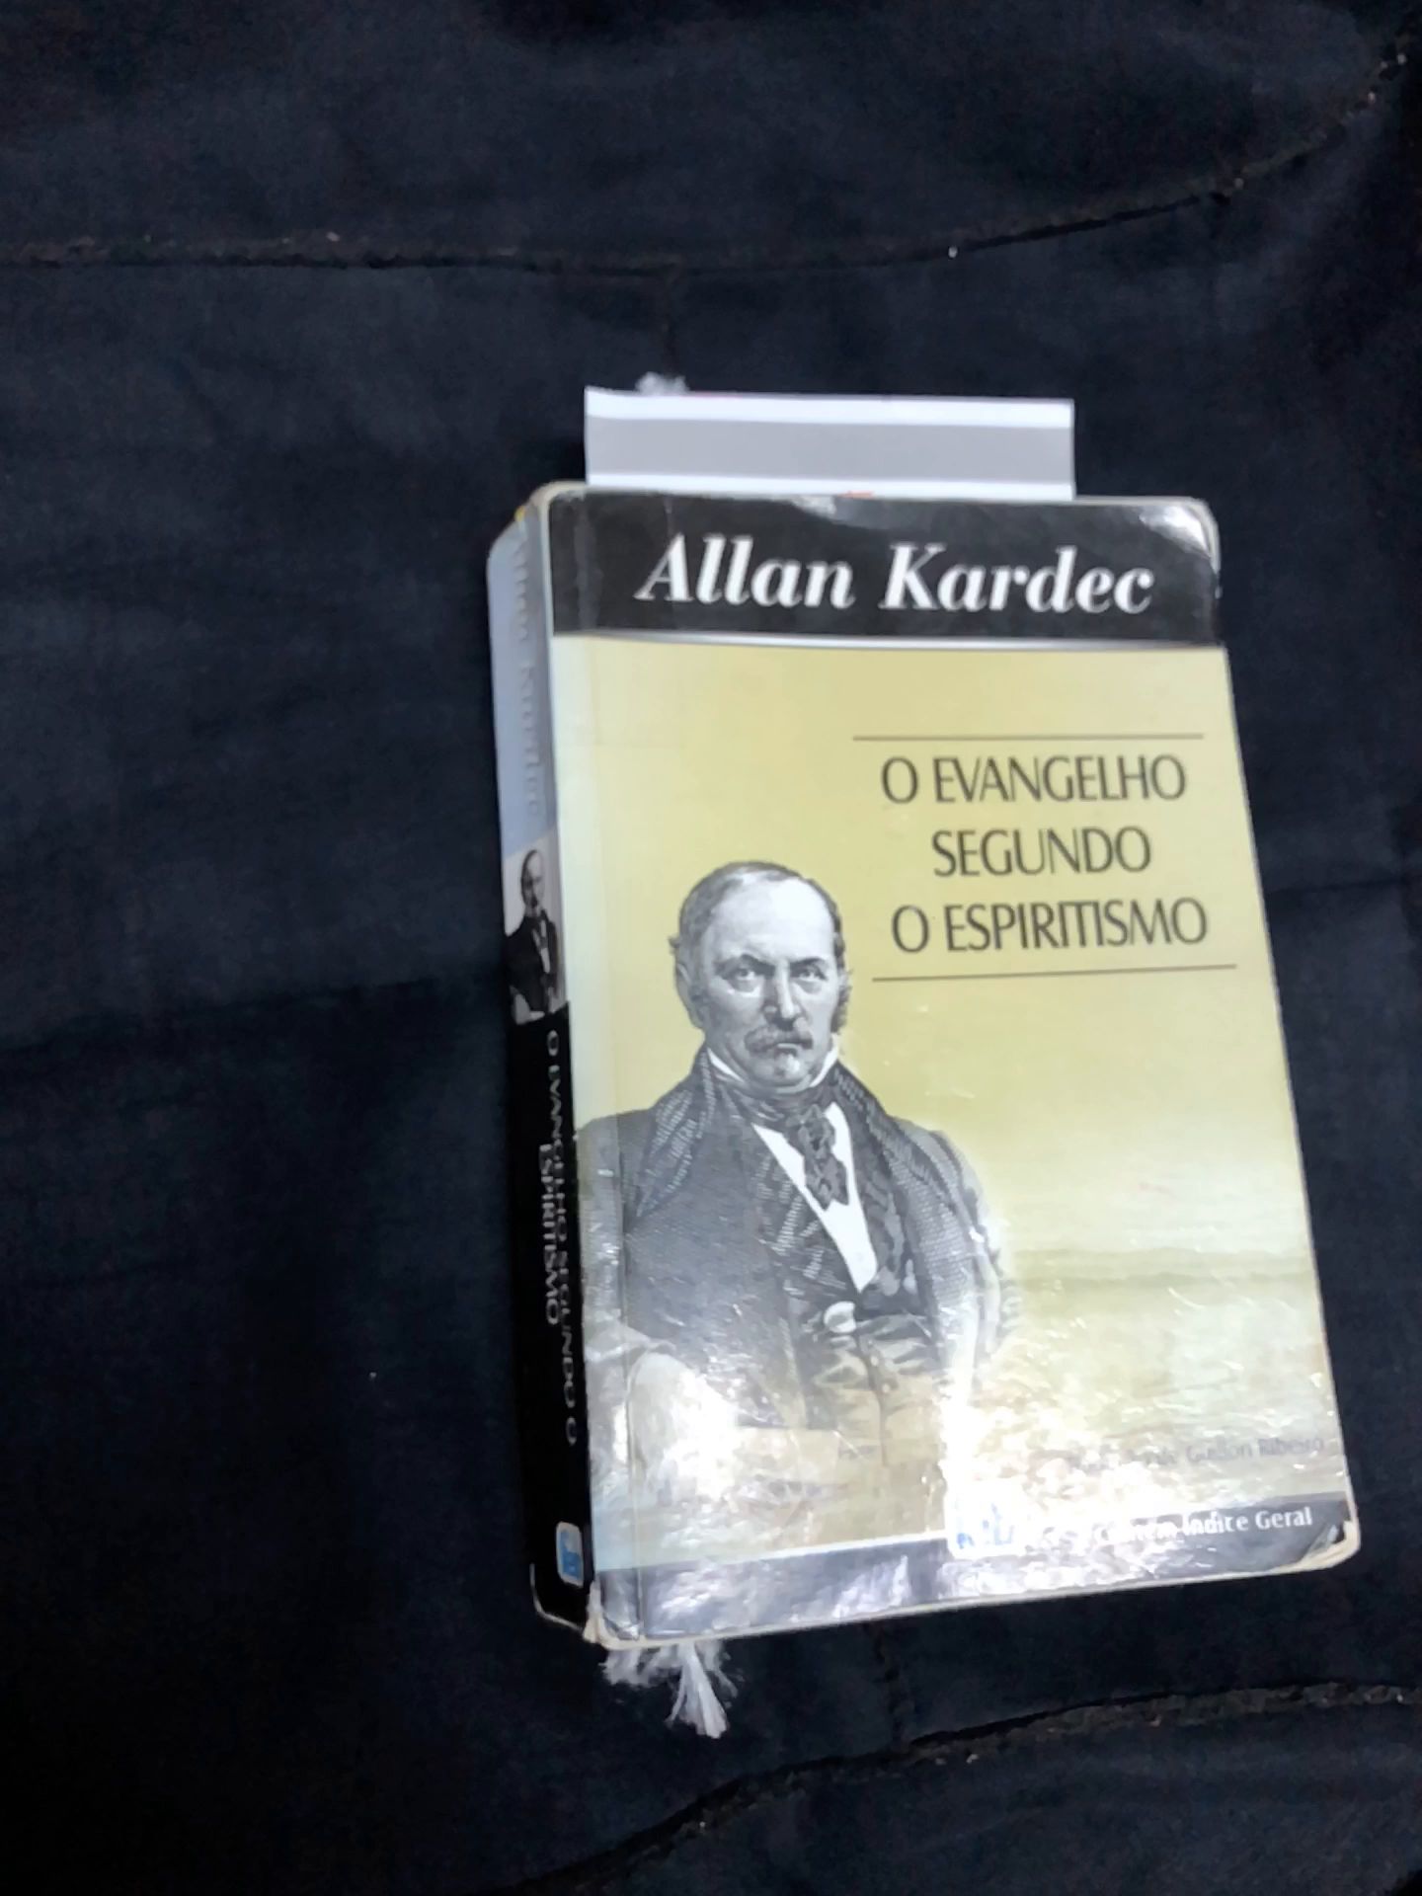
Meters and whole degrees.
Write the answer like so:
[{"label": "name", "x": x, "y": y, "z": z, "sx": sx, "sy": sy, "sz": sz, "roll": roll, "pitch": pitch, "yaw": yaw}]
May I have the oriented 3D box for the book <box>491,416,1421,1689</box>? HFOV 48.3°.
[{"label": "book", "x": 0.039, "y": 0.010, "z": 0.308, "sx": 0.150, "sy": 0.050, "sz": 0.220, "roll": -3, "pitch": 78, "yaw": -10}]
